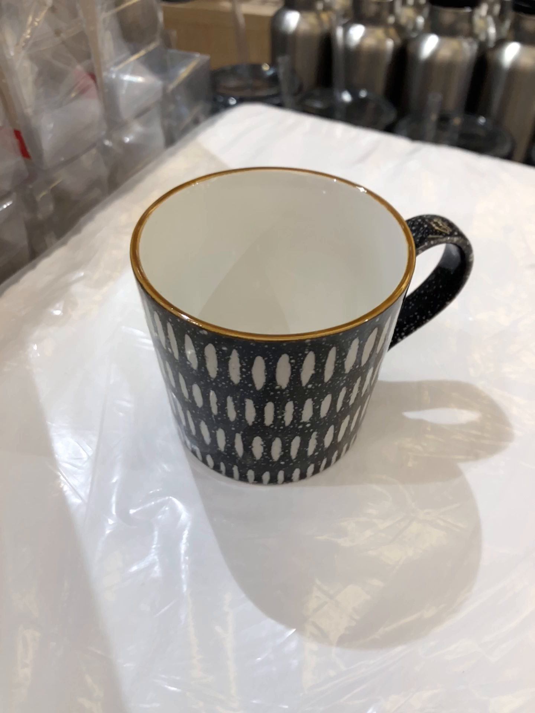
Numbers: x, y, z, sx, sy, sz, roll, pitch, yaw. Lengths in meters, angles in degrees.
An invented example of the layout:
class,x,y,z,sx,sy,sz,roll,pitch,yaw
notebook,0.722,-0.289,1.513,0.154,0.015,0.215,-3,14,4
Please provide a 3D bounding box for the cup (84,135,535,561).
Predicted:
class,x,y,z,sx,sy,sz,roll,pitch,yaw
cup,0.012,-0.007,0.197,0.110,0.079,0.080,-17,48,-16
